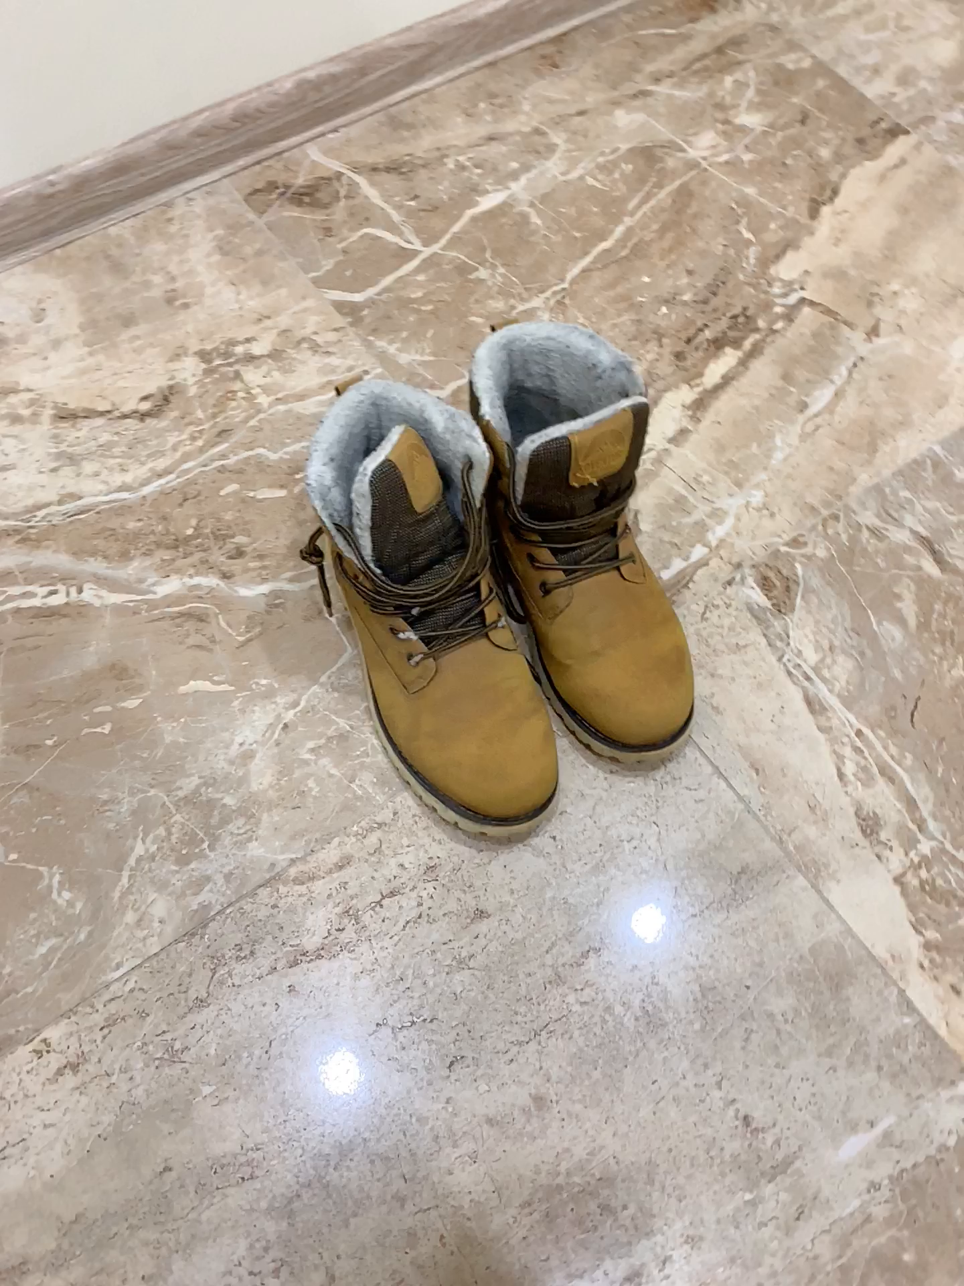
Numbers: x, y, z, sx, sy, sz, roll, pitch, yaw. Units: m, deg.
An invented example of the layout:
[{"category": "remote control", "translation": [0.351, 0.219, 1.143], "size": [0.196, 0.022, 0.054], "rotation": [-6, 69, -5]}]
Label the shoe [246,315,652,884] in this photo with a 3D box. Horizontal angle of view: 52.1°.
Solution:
[{"category": "shoe", "translation": [-0.030, -0.025, 0.597], "size": [0.120, 0.160, 0.281], "rotation": [-20, 67, -12]}]

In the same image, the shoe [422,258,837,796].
[{"category": "shoe", "translation": [0.070, -0.073, 0.613], "size": [0.120, 0.140, 0.281], "rotation": [-20, 67, -12]}]
